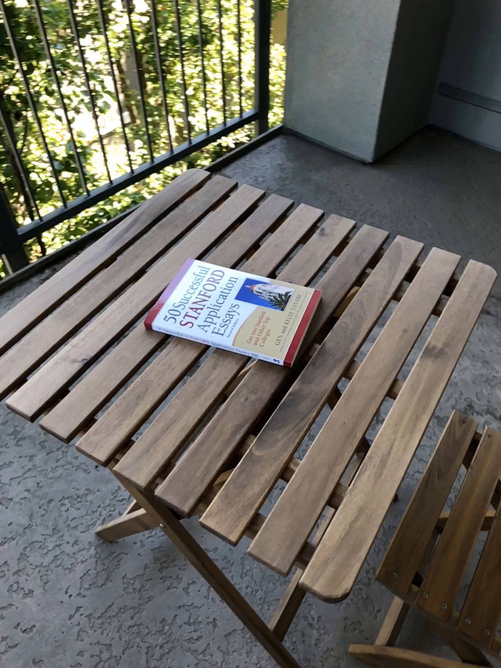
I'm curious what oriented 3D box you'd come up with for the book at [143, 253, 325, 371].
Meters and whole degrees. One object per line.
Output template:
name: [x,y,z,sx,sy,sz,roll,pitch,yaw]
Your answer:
book: [-0.020,-0.040,0.819,0.224,0.020,0.157,15,50,14]
